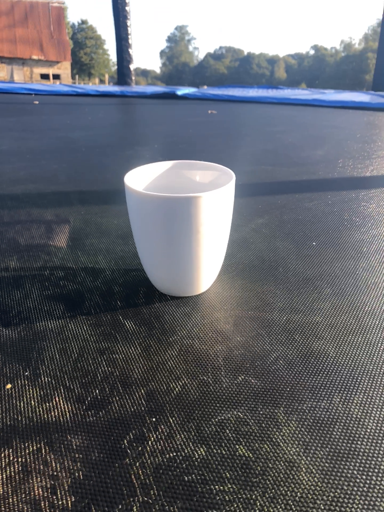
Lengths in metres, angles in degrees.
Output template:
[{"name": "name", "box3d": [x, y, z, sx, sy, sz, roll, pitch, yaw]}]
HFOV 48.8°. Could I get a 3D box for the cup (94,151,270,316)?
[{"name": "cup", "box3d": [-0.006, -0.028, 0.370, 0.100, 0.089, 0.111, 19, 32, 28]}]
